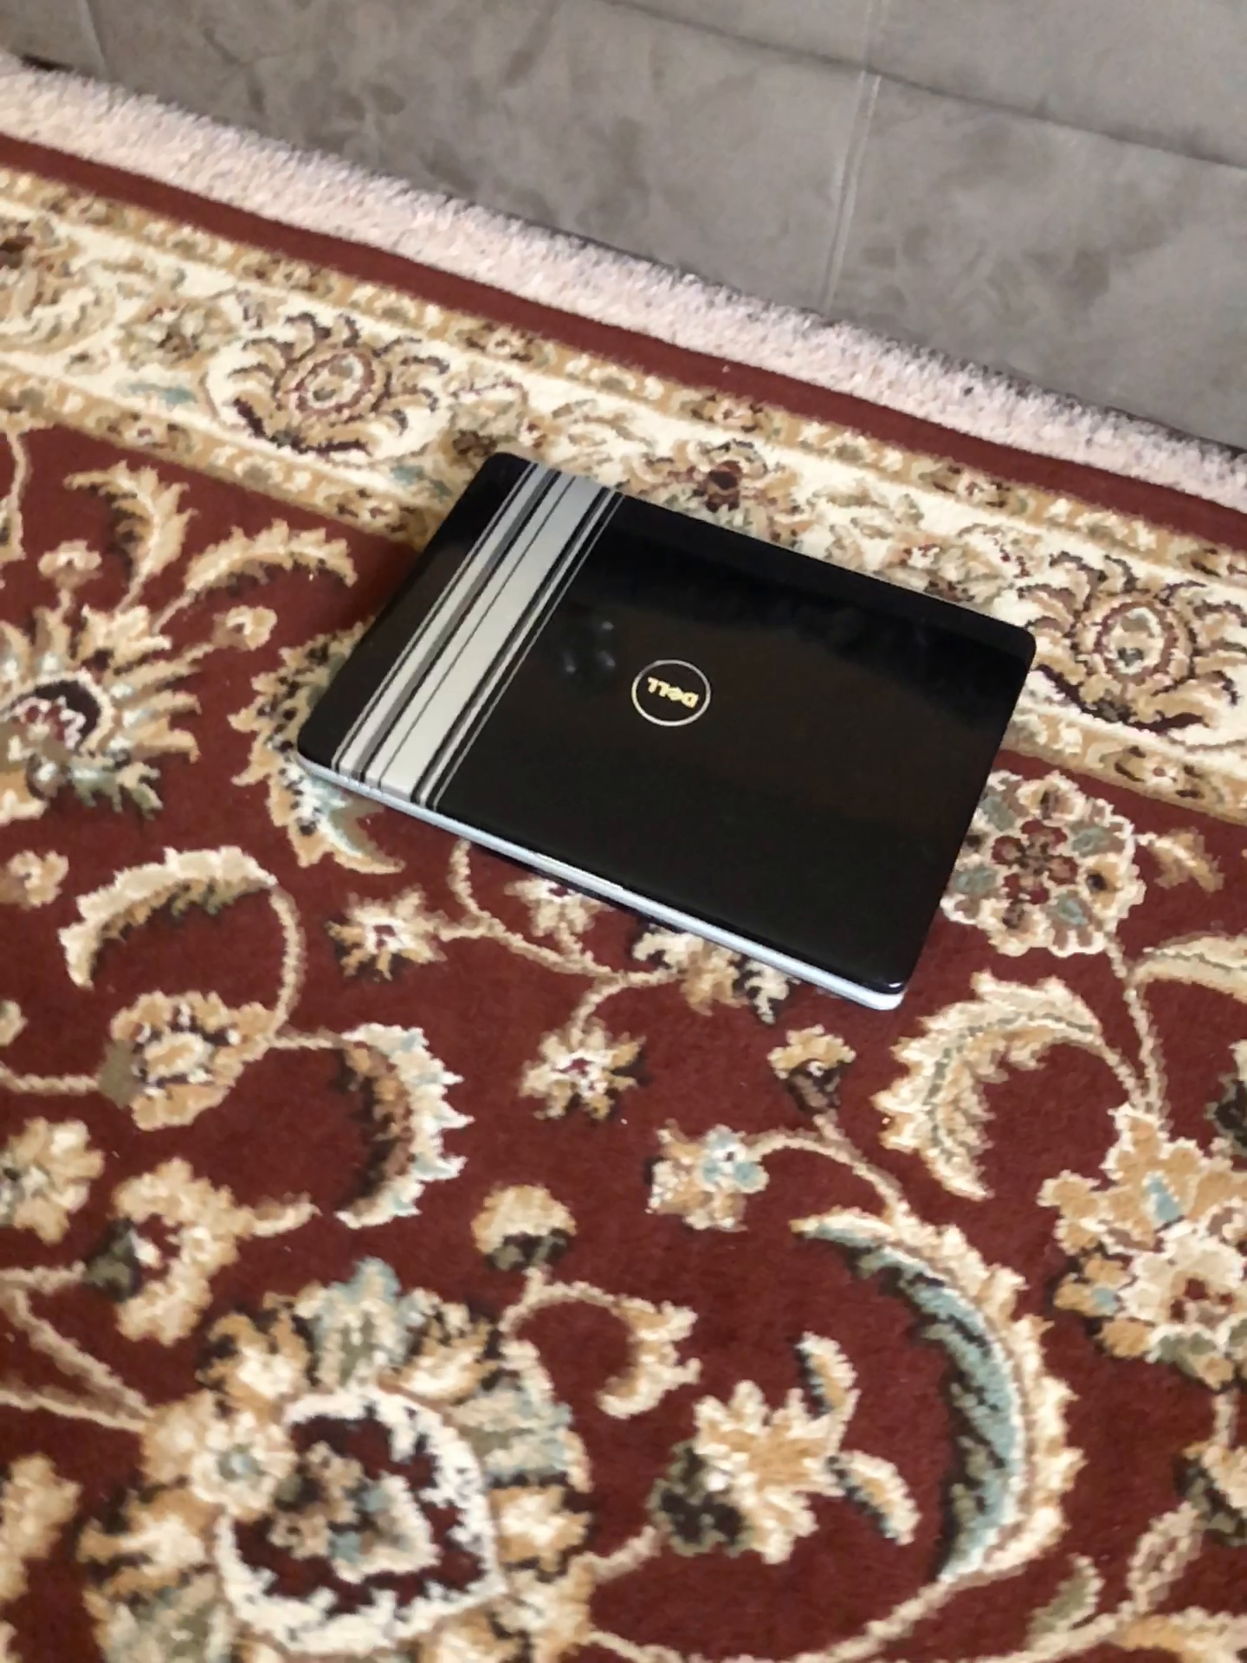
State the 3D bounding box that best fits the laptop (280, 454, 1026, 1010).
[{"bbox_3d":[0.021,-0.073,0.777,0.351,0.015,0.242,22,63,12],"label":"laptop"}]
